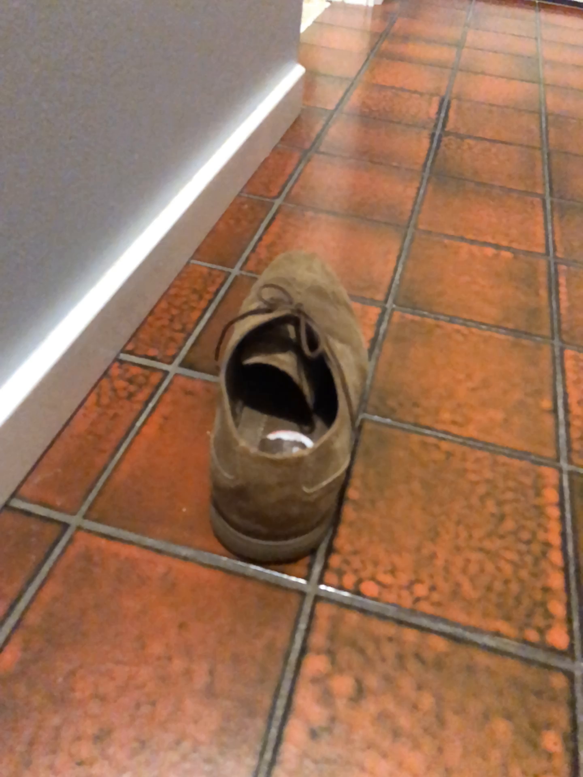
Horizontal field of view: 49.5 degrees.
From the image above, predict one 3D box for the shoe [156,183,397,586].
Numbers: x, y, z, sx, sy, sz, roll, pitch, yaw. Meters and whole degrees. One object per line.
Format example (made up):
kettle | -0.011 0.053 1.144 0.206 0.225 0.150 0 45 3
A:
shoe | 0.006 -0.028 0.459 0.120 0.100 0.301 9 43 1
